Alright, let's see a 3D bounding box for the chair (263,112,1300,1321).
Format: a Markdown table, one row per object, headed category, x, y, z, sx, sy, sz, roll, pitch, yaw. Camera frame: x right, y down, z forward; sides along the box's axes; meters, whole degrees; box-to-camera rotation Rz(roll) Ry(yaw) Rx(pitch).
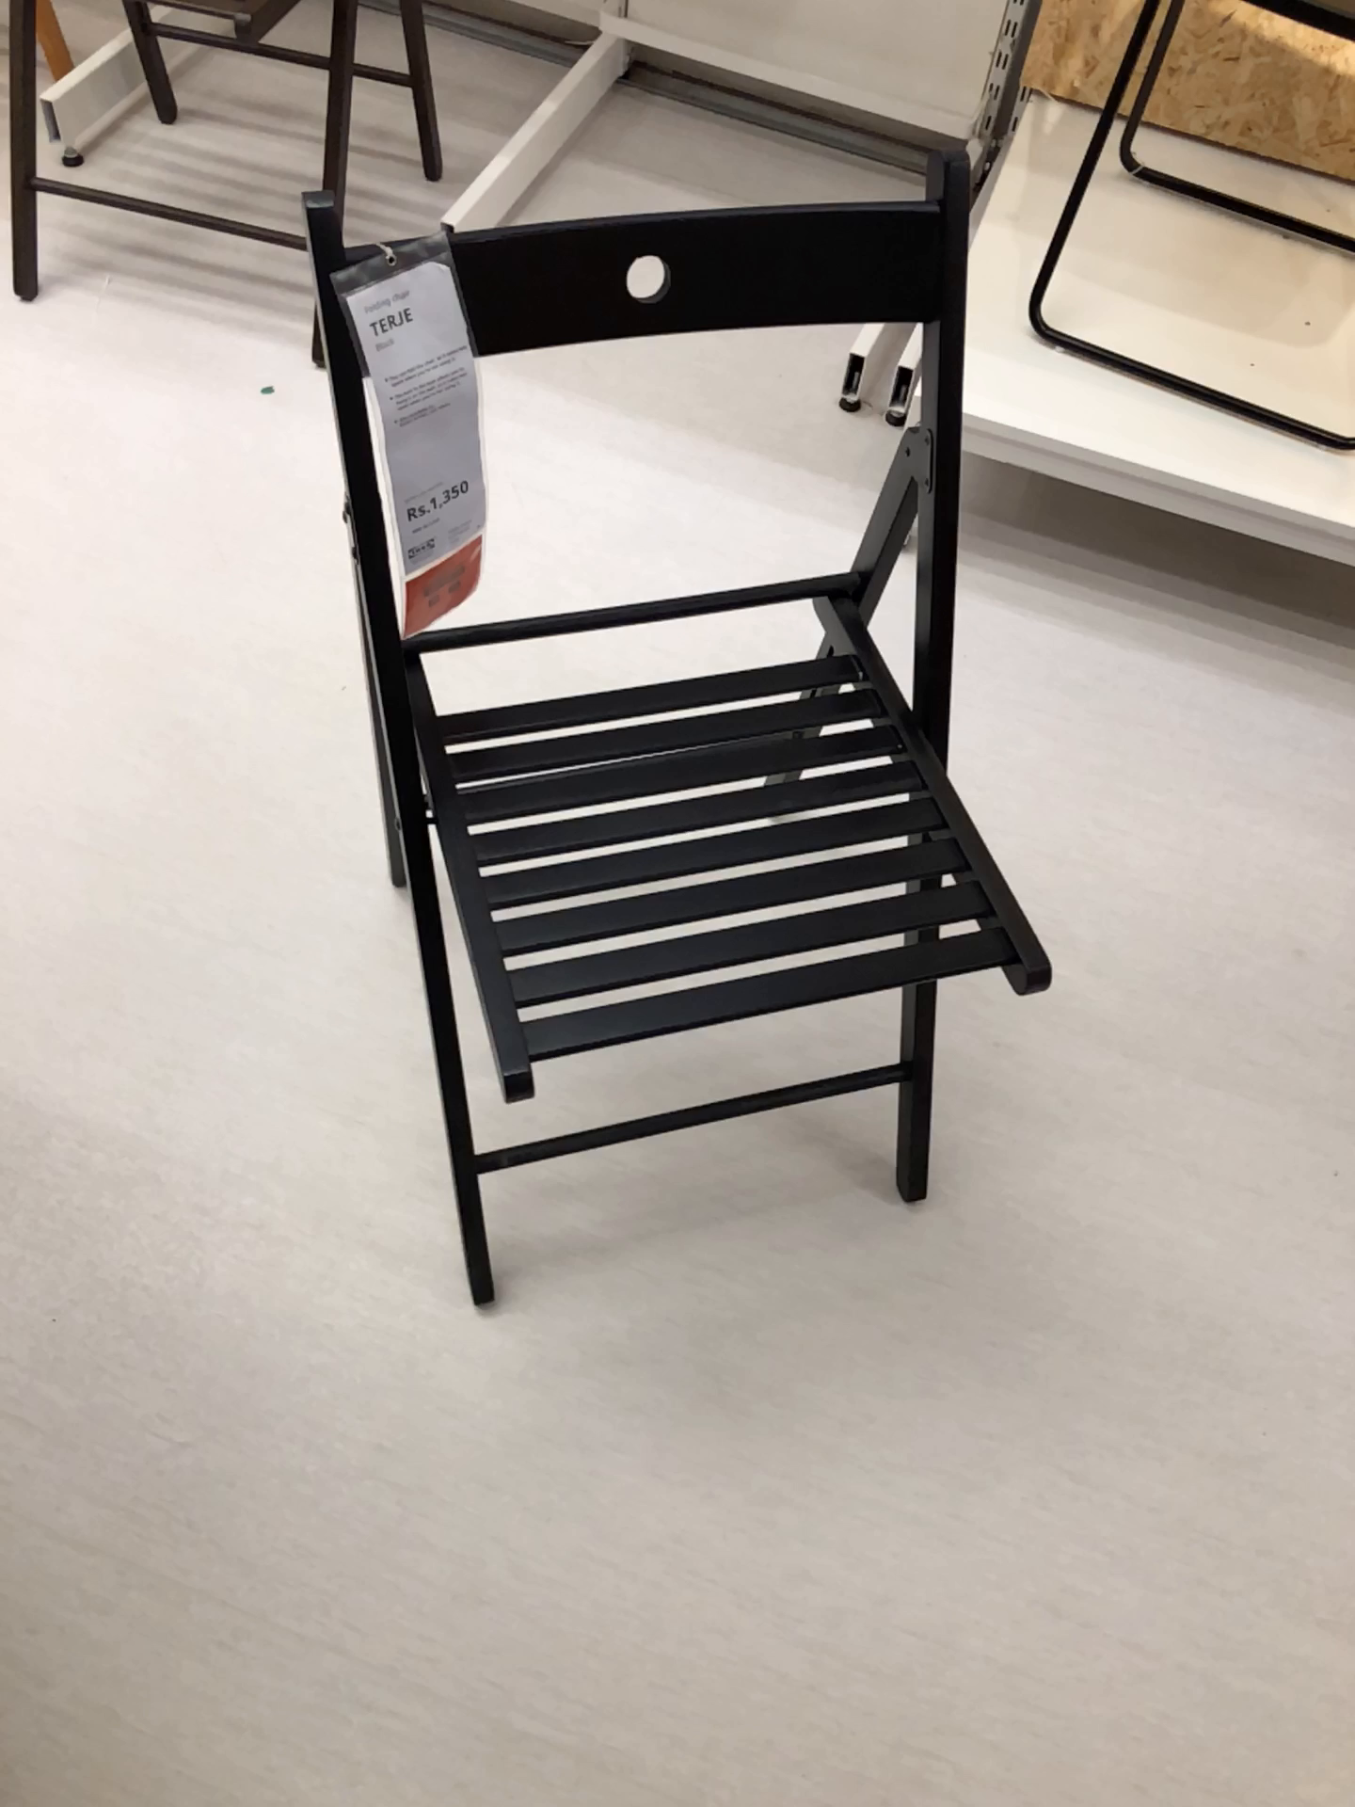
| category | x | y | z | sx | sy | sz | roll | pitch | yaw |
| --- | --- | --- | --- | --- | --- | --- | --- | --- | --- |
| chair | -0.003 | -0.085 | 1.105 | 0.440 | 0.726 | 0.482 | -10 | 59 | -13 |
